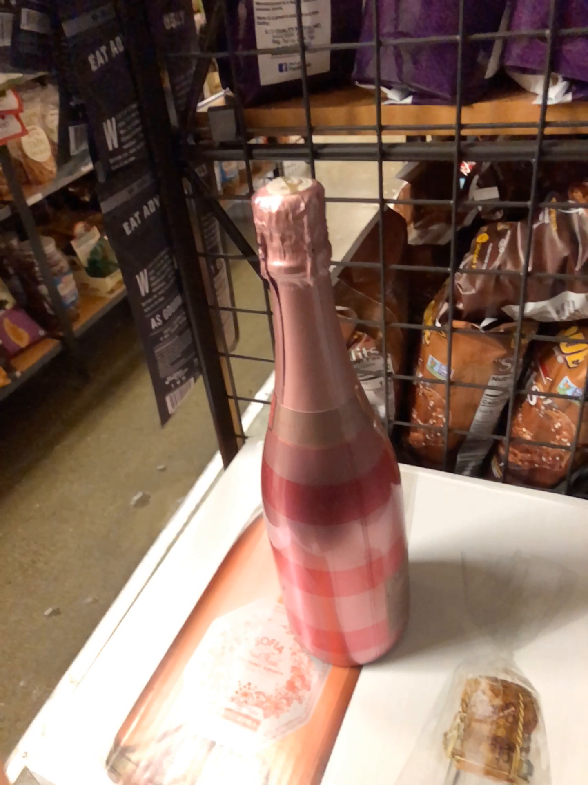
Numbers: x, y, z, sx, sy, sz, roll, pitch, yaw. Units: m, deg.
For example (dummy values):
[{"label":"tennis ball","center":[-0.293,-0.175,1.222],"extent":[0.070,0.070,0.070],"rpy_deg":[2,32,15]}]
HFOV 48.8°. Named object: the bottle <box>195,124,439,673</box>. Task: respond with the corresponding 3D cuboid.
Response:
[{"label":"bottle","center":[0.026,0.028,0.364],"extent":[0.090,0.309,0.090],"rpy_deg":[-5,35,3]}]
